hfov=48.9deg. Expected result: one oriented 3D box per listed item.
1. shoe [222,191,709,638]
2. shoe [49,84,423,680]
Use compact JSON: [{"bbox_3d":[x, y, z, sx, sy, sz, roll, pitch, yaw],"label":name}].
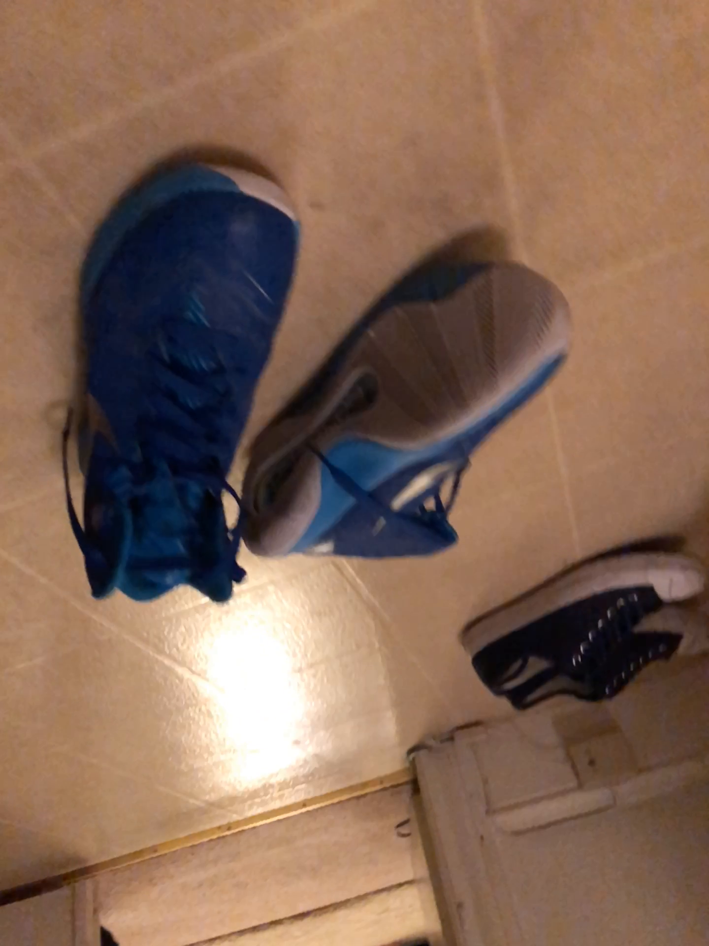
[{"bbox_3d":[0.056,-0.010,0.516,0.160,0.120,0.282,9,139,-37],"label":"shoe"},{"bbox_3d":[-0.096,-0.019,0.443,0.120,0.144,0.311,4,141,-23],"label":"shoe"}]
